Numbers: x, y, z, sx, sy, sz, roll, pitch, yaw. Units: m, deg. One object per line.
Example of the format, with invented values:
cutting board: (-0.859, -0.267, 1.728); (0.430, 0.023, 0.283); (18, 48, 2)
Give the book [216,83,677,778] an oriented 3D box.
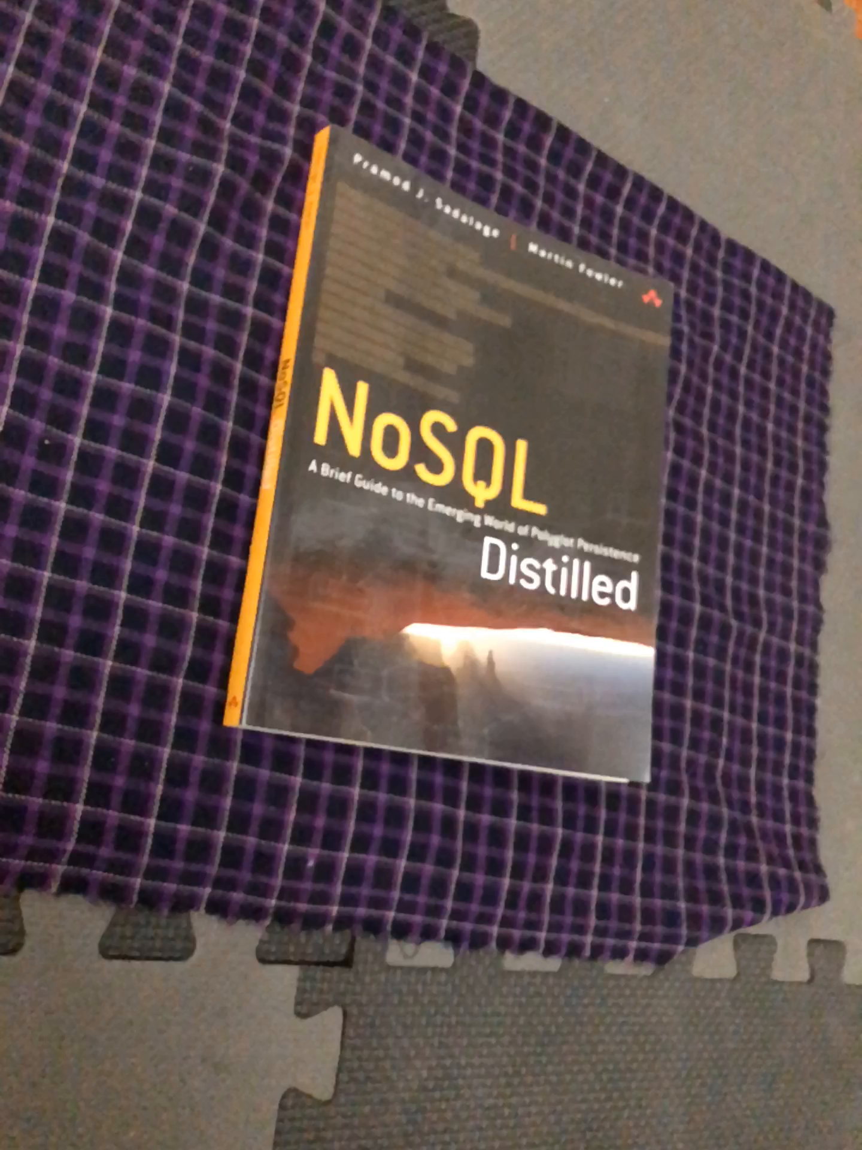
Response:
book: (0.023, -0.052, 0.404); (0.191, 0.020, 0.250); (14, 73, -30)
